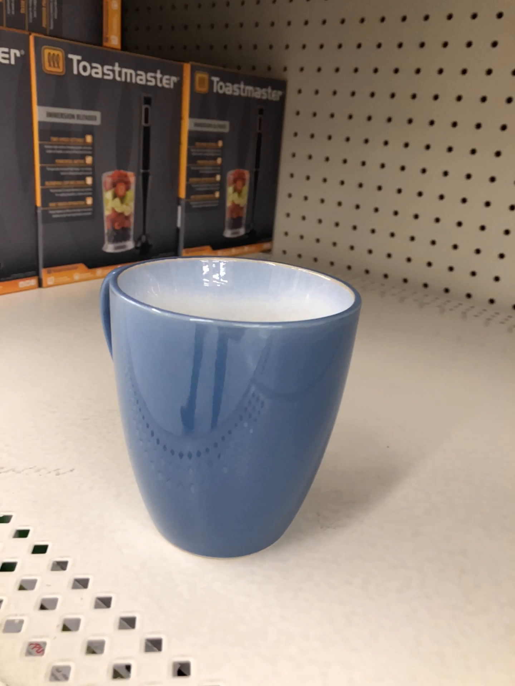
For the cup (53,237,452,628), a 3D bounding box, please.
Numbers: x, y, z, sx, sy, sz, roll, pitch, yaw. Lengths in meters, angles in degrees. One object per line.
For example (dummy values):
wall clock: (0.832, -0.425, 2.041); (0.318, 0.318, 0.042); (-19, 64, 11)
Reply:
cup: (-0.006, 0.019, 0.244); (0.128, 0.098, 0.097); (20, 25, 36)
